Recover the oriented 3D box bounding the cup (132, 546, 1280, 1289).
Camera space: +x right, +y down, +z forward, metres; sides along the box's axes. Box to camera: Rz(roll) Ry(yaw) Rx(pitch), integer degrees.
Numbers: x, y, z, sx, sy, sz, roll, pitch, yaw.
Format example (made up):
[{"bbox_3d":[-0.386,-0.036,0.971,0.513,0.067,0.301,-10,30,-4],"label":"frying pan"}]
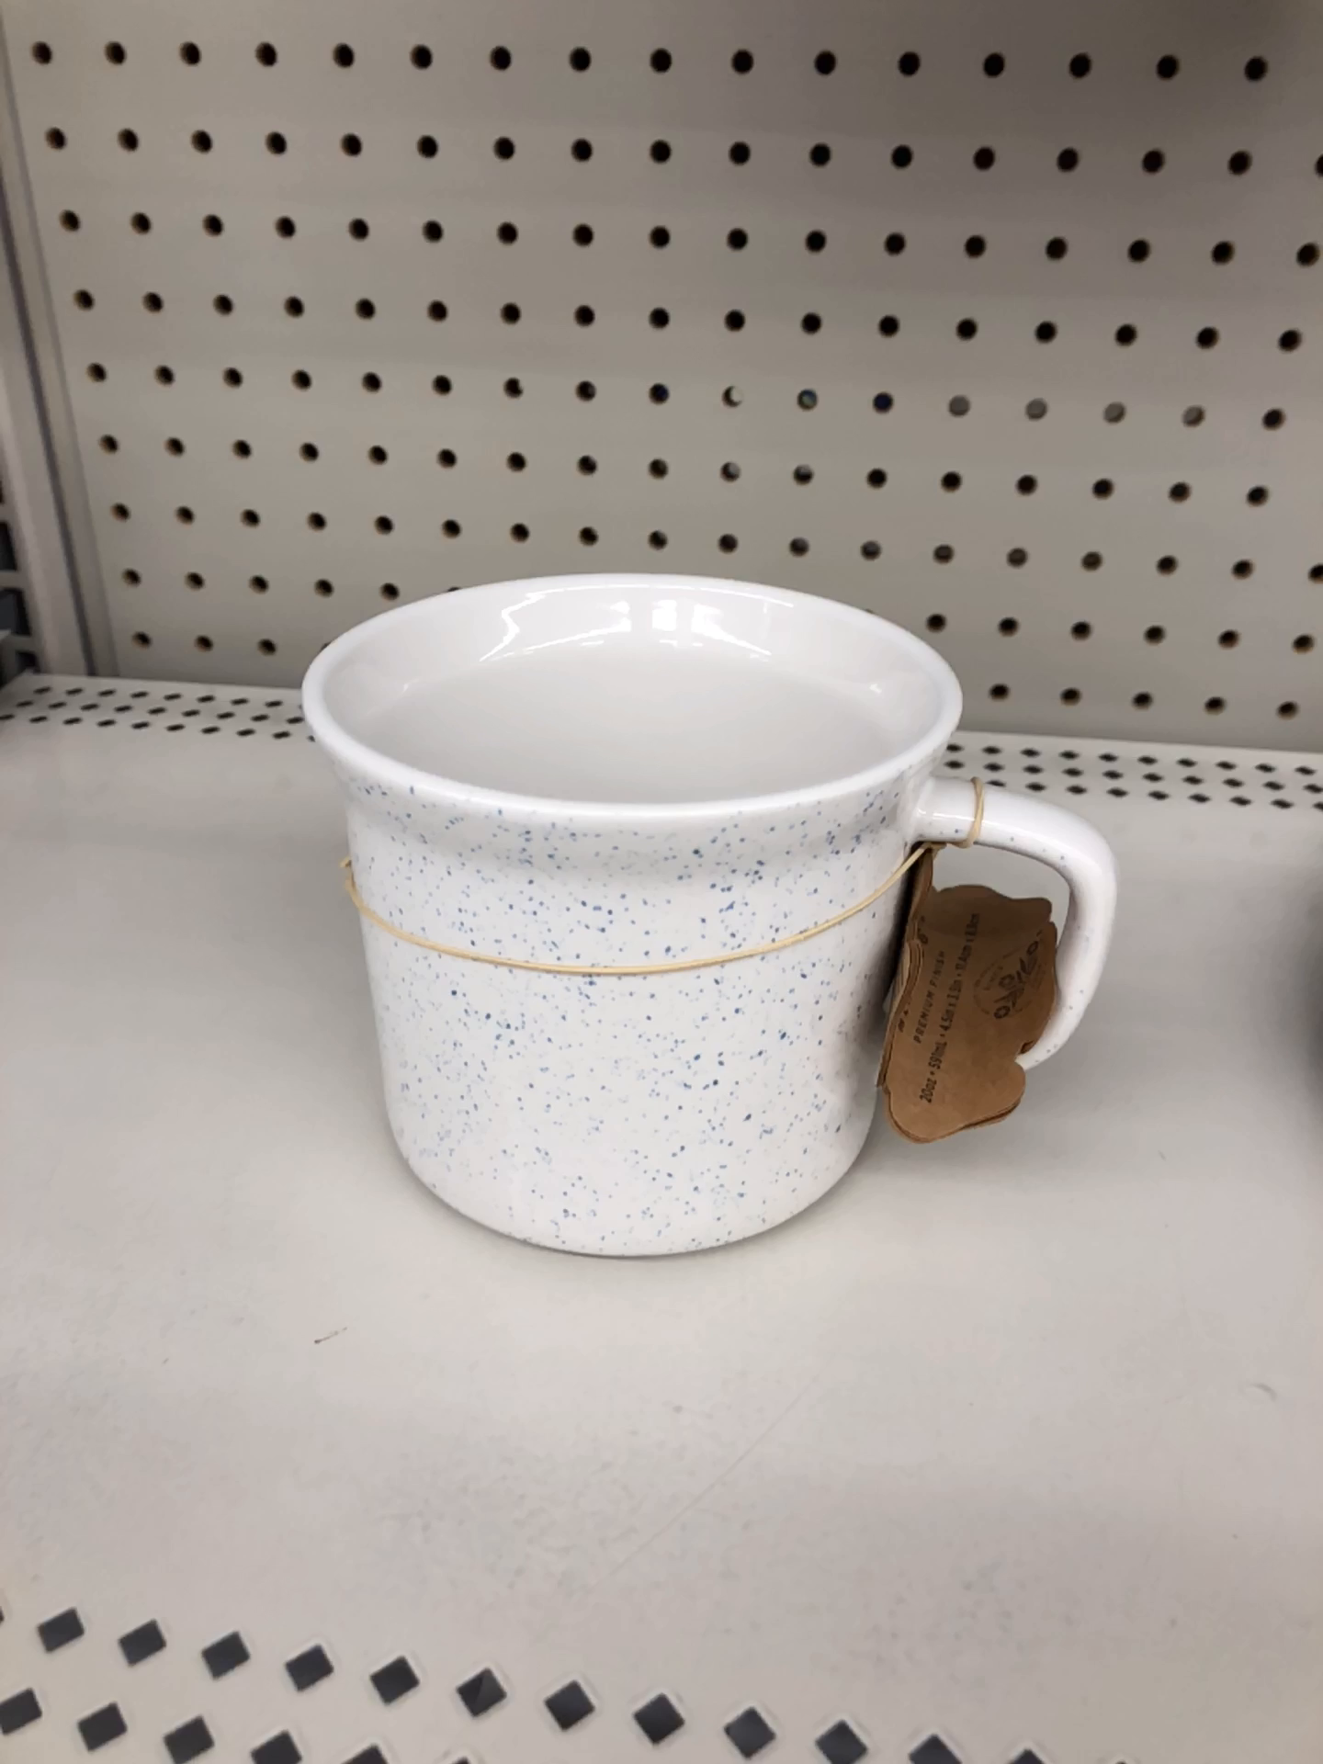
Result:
[{"bbox_3d":[0.008,0.000,0.270,0.159,0.090,0.102,2,29,4],"label":"cup"}]
